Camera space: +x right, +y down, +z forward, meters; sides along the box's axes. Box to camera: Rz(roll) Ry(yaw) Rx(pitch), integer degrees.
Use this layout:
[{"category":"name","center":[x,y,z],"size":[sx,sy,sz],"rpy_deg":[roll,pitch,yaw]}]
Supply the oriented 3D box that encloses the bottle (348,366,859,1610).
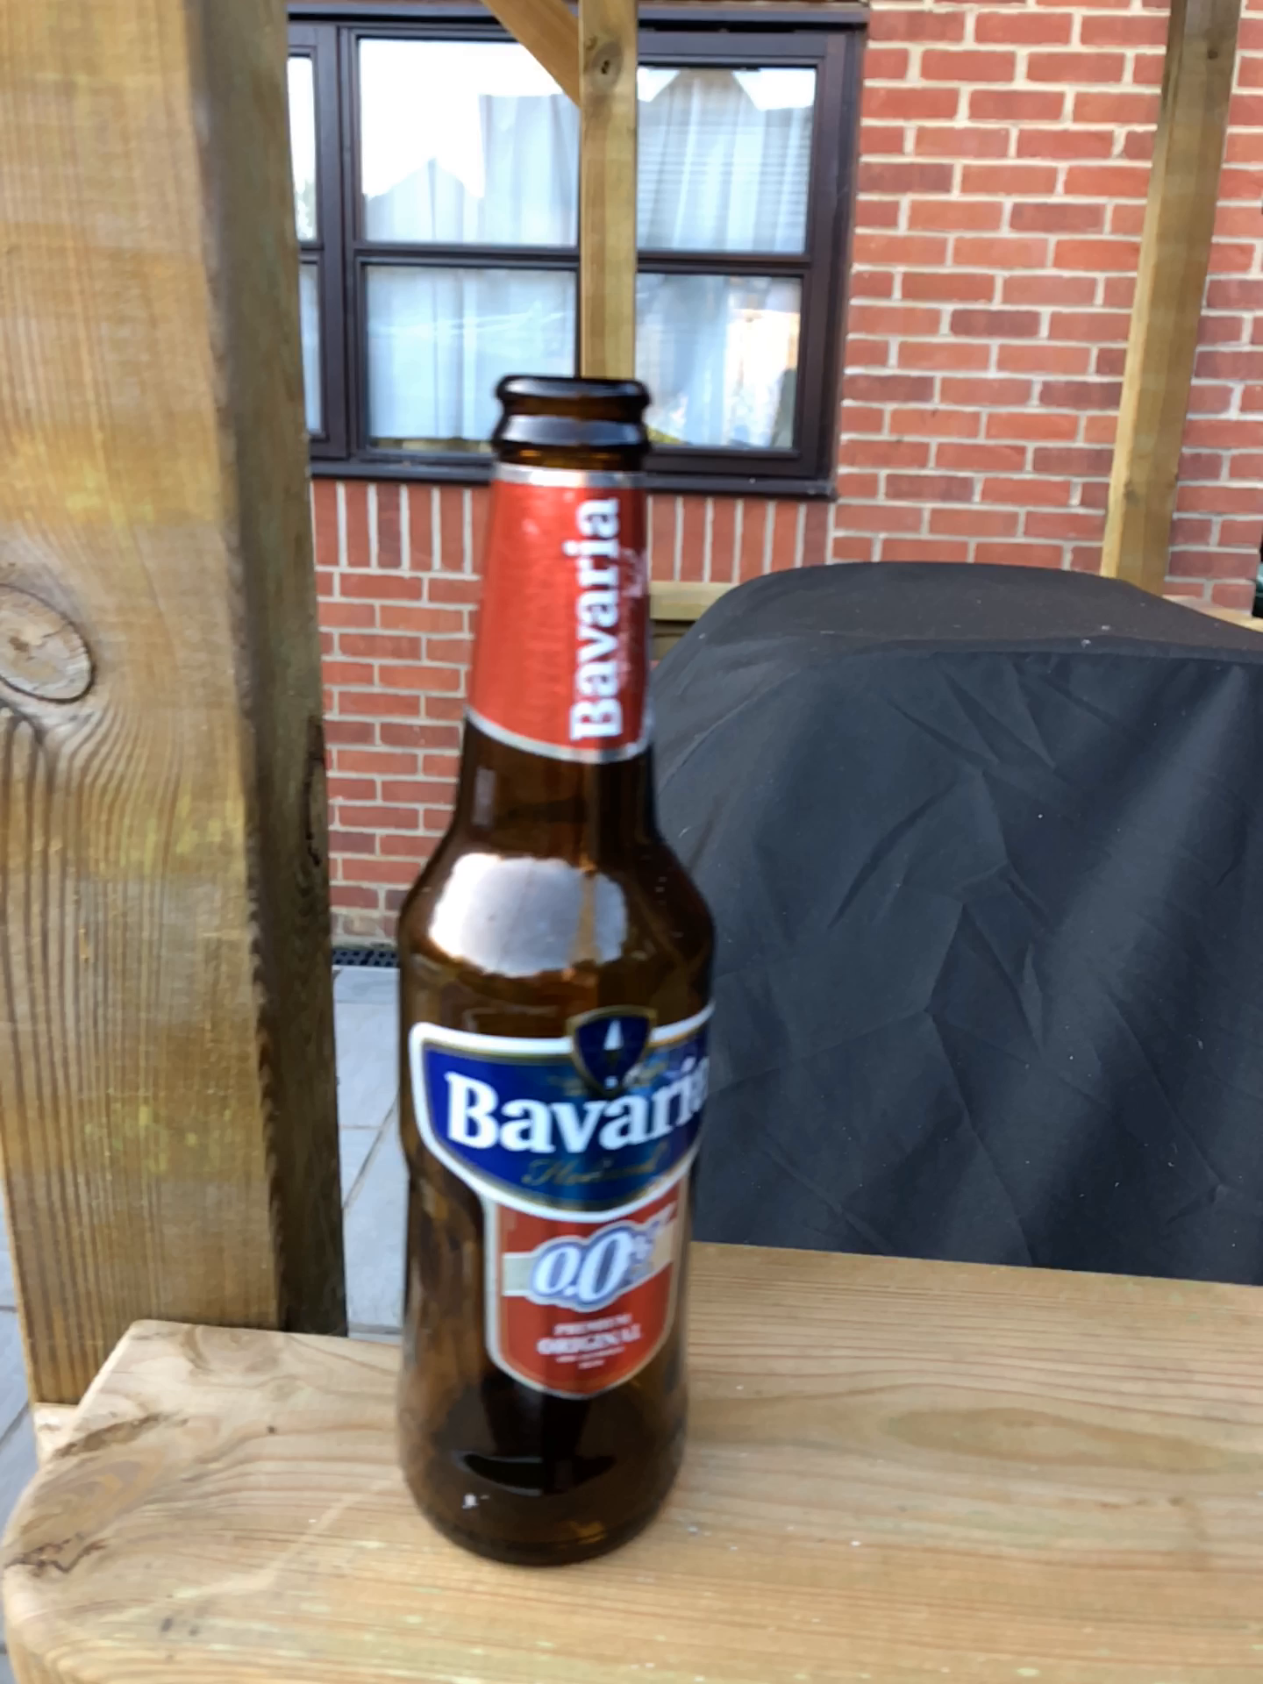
[{"category":"bottle","center":[-0.011,0.025,0.257],"size":[0.070,0.209,0.060],"rpy_deg":[-3,16,-18]}]
